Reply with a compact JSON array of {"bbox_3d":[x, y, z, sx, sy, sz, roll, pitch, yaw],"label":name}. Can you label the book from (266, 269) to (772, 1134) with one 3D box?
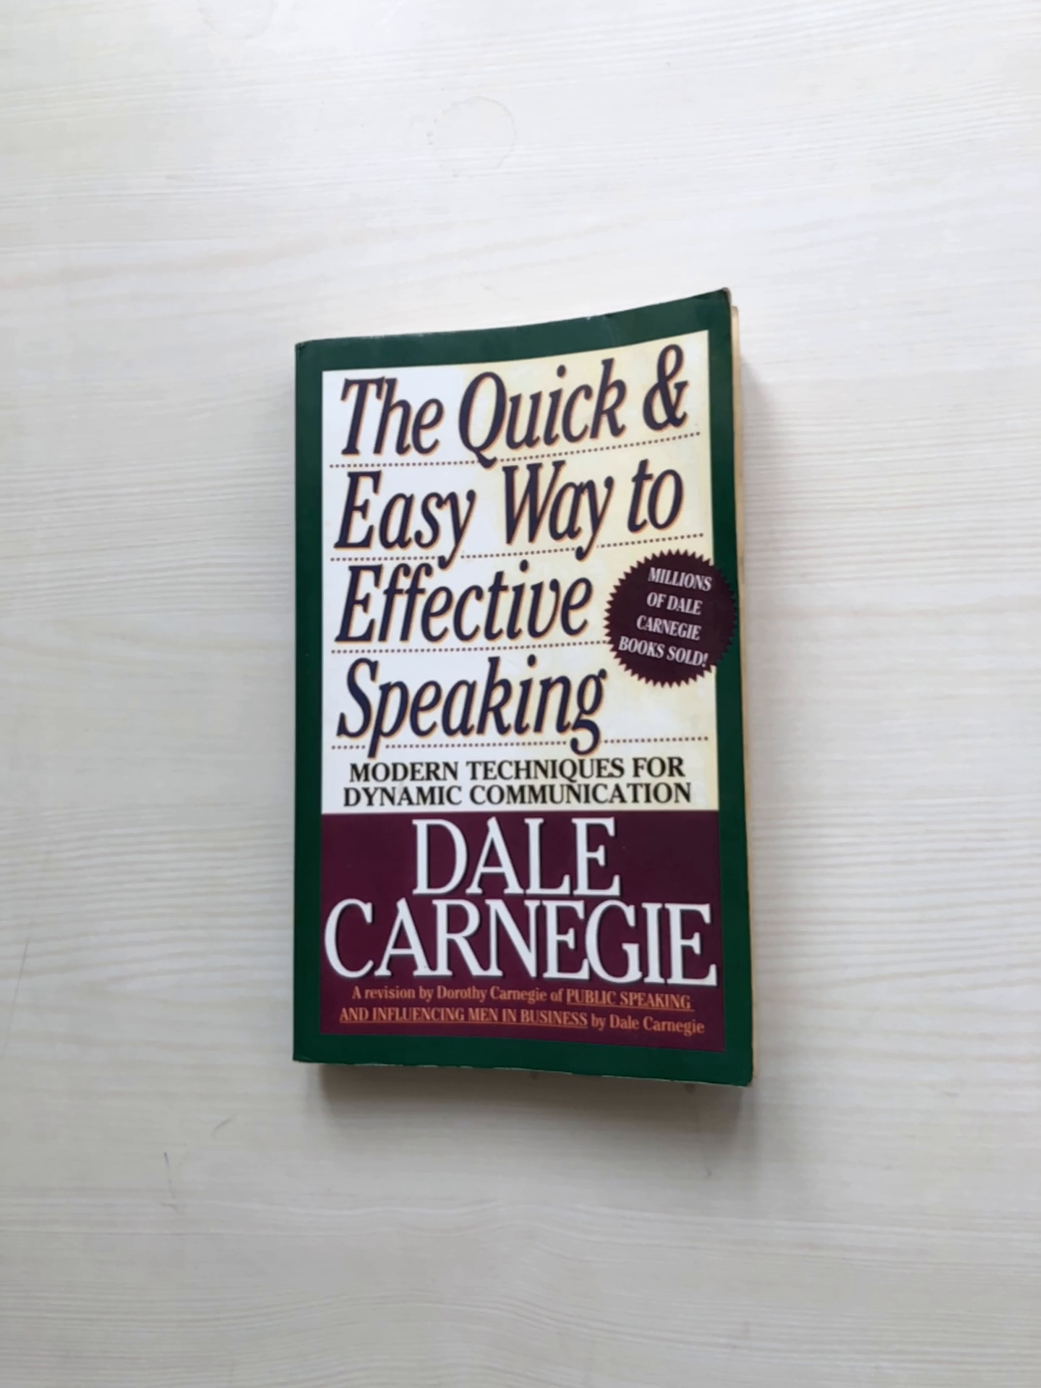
[{"bbox_3d":[0.001,0.002,0.276,0.110,0.040,0.180,-1,86,15],"label":"book"}]
